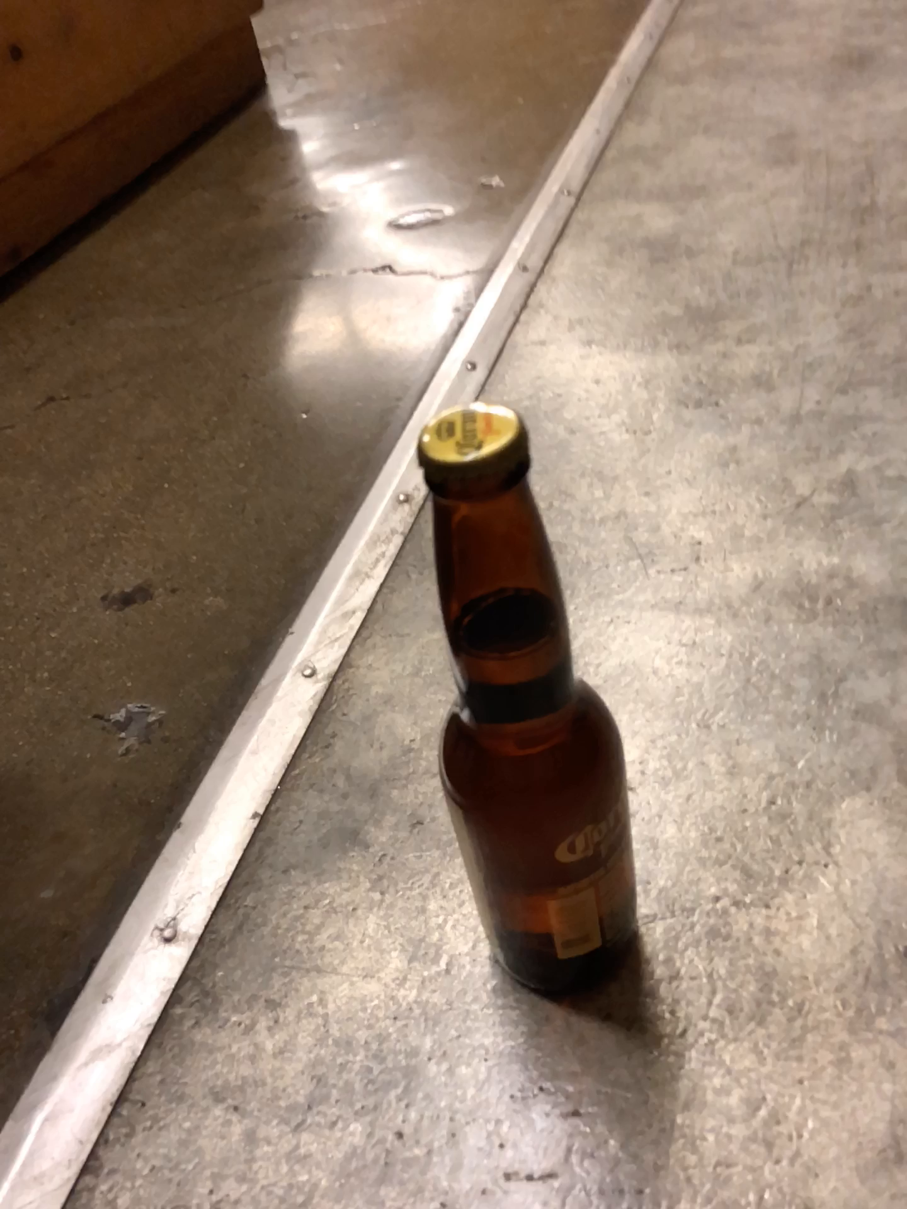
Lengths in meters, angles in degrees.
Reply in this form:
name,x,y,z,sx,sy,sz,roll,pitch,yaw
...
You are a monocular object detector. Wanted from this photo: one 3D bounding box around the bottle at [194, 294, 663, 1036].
name,x,y,z,sx,sy,sz,roll,pitch,yaw
bottle,0.010,0.031,0.291,0.070,0.217,0.070,-7,42,7
